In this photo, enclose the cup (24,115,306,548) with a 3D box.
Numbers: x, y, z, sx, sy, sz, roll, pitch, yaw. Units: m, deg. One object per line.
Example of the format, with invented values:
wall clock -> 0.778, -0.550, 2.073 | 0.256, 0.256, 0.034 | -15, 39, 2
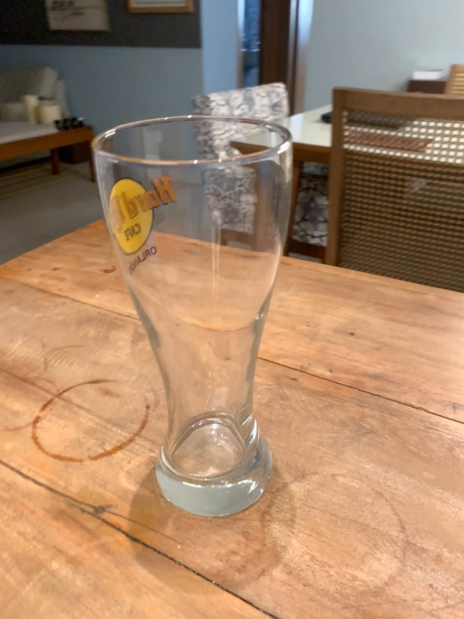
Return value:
cup -> -0.020, 0.010, 0.259 | 0.090, 0.201, 0.090 | -2, 29, 1
